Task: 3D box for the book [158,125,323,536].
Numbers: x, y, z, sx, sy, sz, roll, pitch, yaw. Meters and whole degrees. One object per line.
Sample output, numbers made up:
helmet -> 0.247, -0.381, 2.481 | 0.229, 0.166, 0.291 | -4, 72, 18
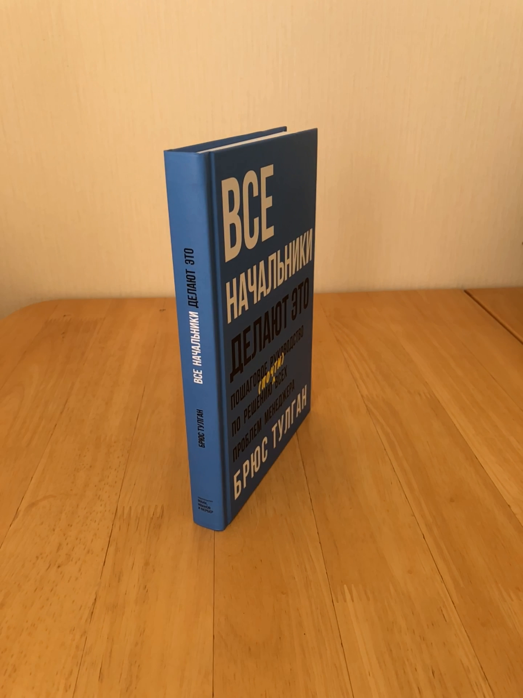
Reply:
book -> -0.002, -0.020, 0.354 | 0.025, 0.207, 0.150 | 10, 26, 22
